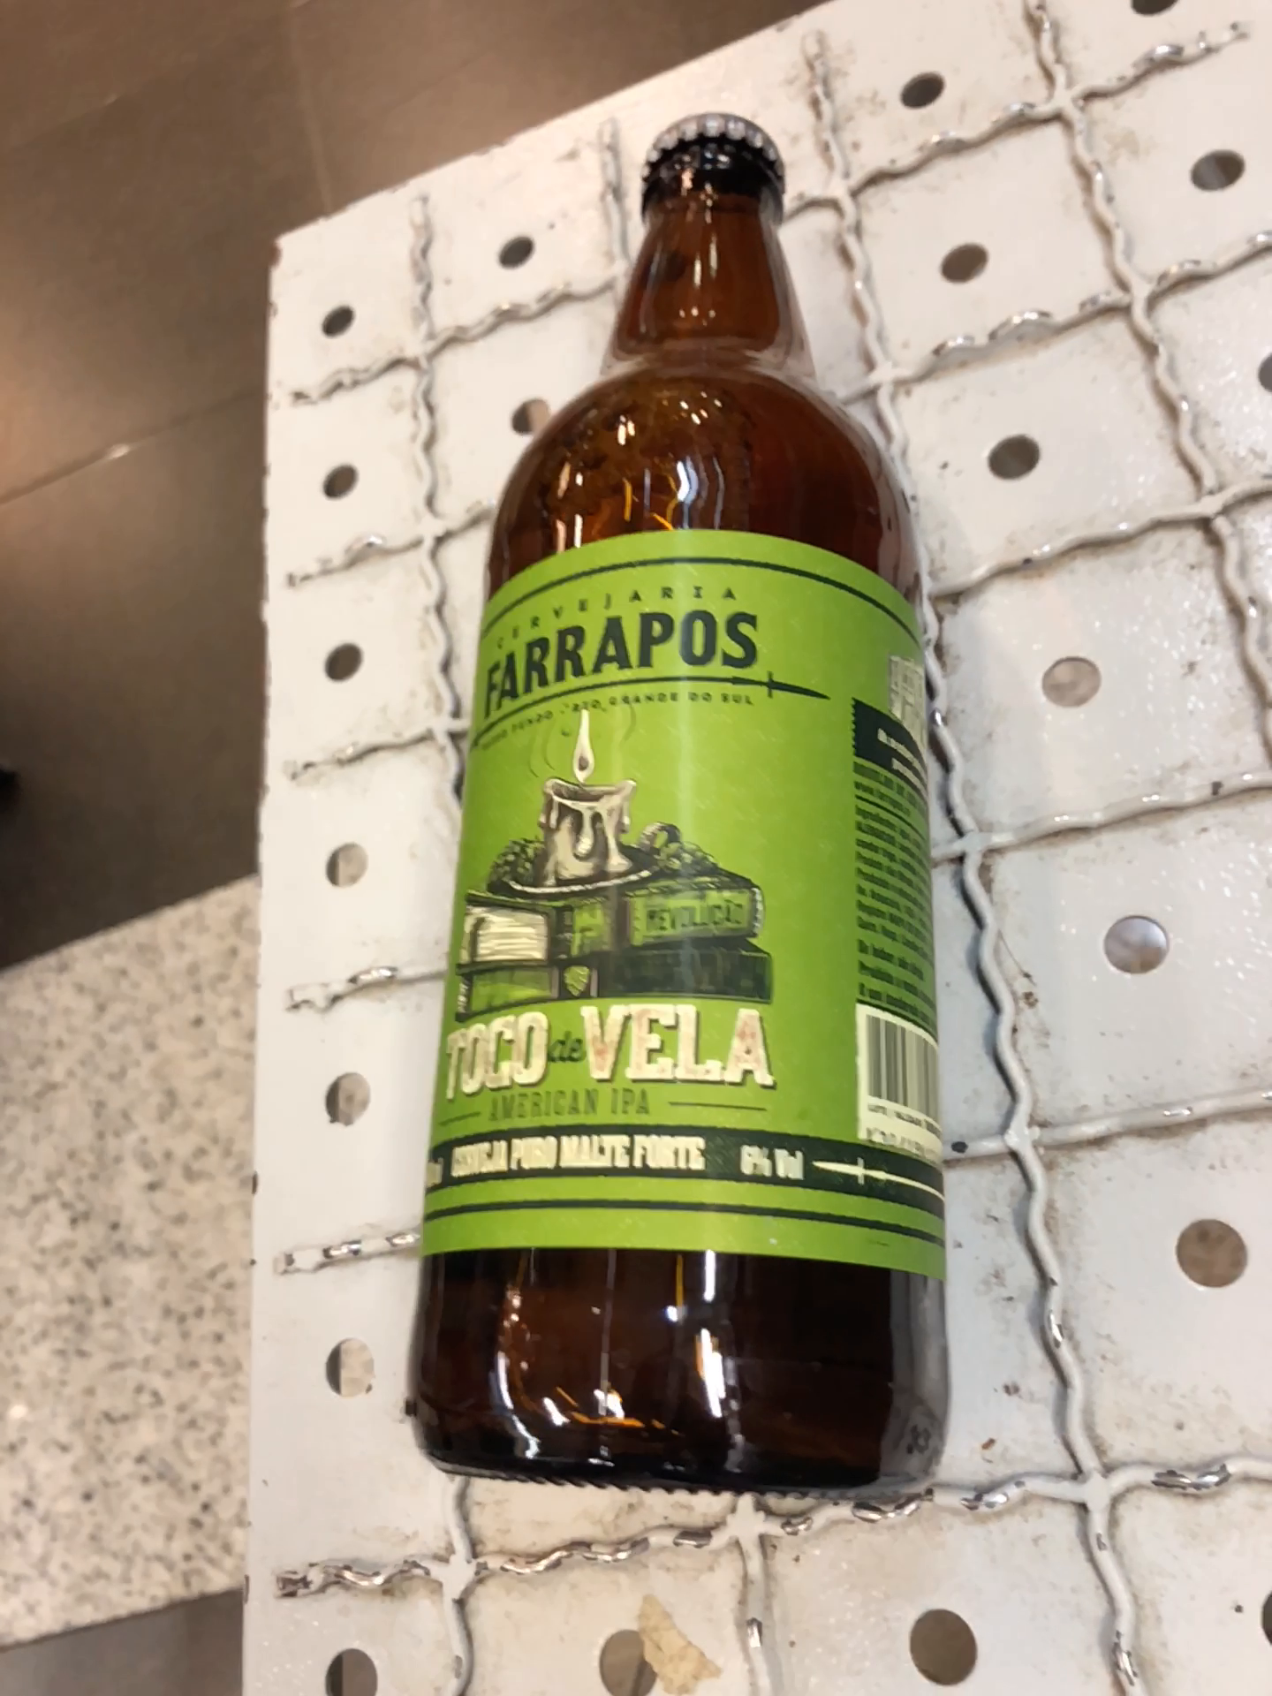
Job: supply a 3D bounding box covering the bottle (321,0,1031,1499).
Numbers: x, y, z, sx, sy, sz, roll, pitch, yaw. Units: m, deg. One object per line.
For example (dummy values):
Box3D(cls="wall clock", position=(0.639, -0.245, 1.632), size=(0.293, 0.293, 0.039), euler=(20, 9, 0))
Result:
Box3D(cls="bottle", position=(0.015, -0.038, 0.239), size=(0.080, 0.070, 0.261), euler=(-4, 69, 17))
